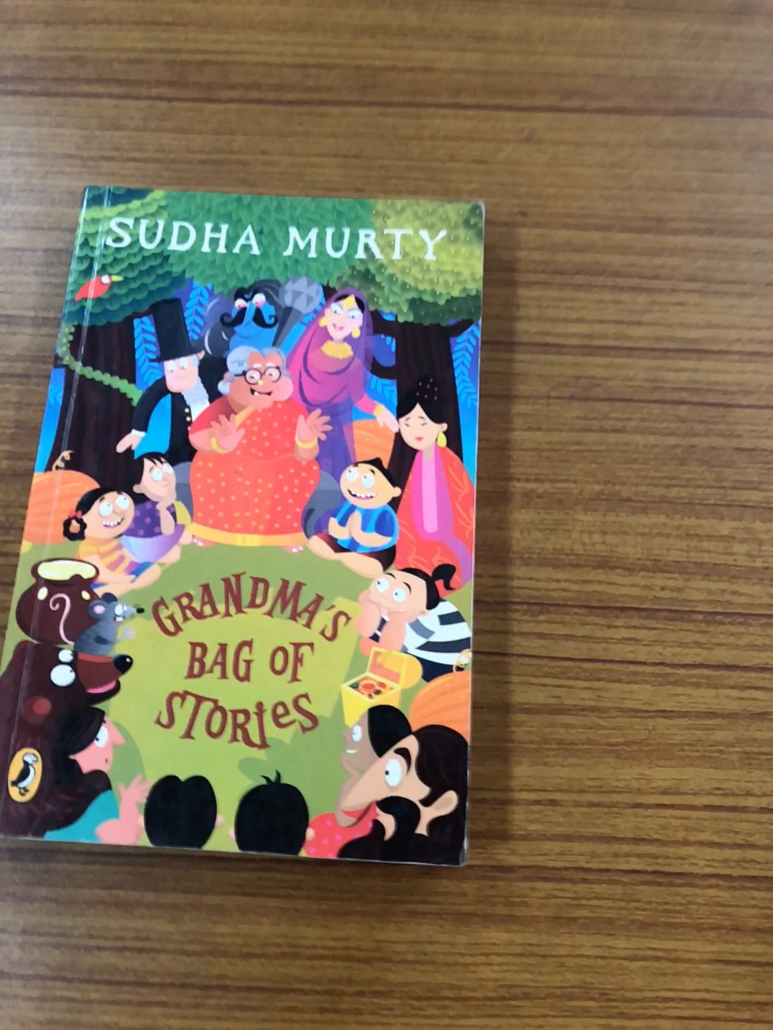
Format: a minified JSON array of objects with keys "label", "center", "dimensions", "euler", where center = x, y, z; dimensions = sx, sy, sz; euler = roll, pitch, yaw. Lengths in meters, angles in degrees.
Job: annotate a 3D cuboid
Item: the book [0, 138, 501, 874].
[{"label":"book","center":[-0.034,-0.011,0.258],"dimensions":[0.130,0.030,0.210],"euler":[2,74,1]}]
